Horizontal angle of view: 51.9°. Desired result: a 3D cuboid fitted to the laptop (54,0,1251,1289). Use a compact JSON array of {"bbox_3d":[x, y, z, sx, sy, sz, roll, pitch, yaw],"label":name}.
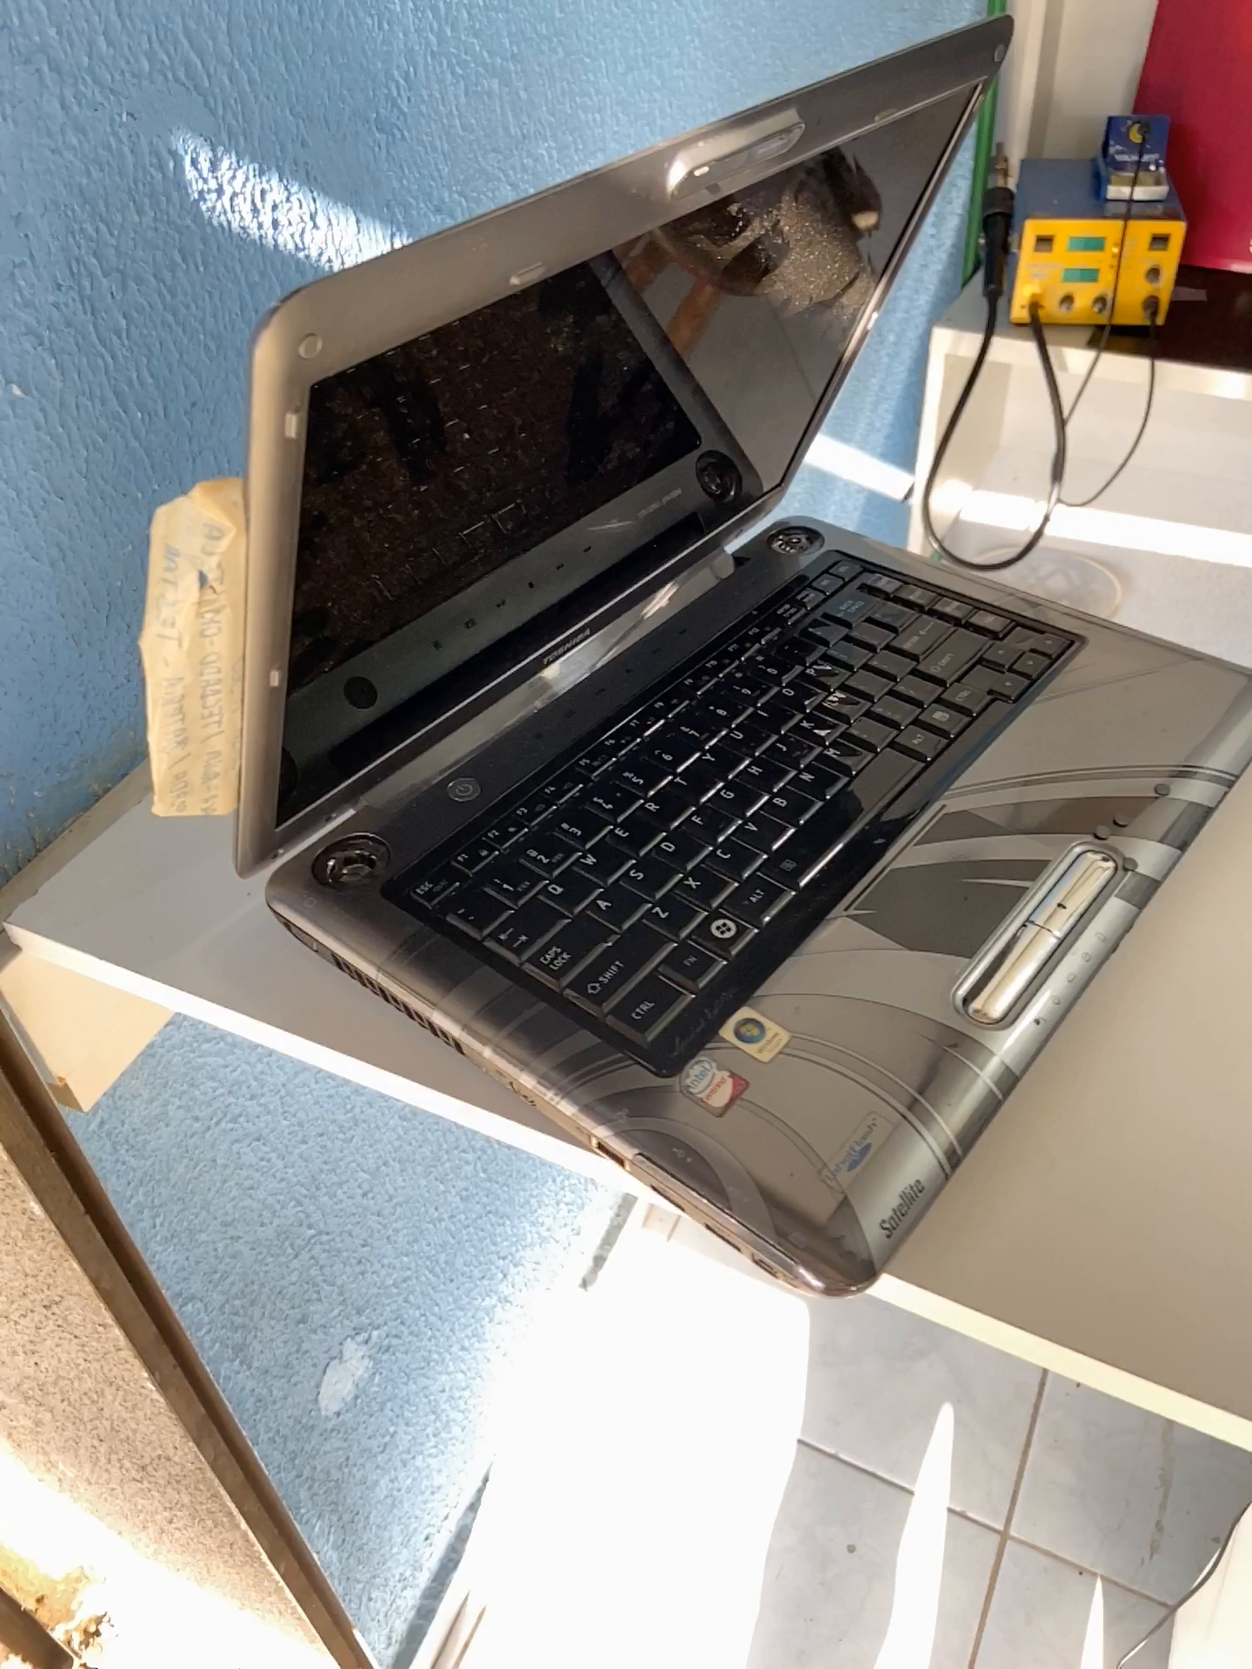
[{"bbox_3d":[0.072,-0.109,0.447,0.259,0.235,0.359,28,51,30],"label":"laptop"}]
